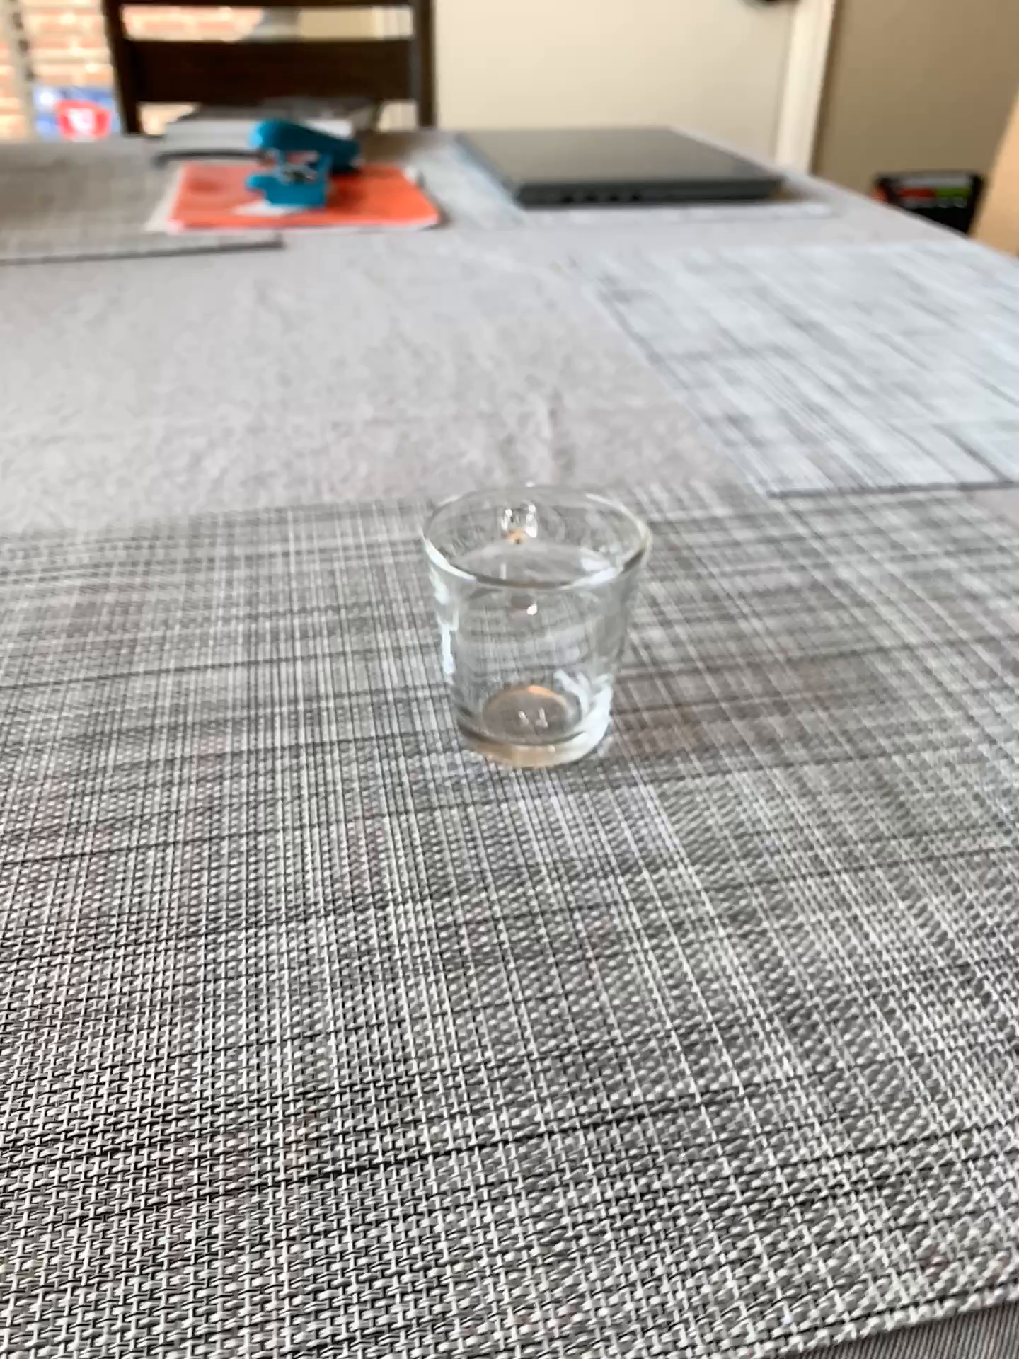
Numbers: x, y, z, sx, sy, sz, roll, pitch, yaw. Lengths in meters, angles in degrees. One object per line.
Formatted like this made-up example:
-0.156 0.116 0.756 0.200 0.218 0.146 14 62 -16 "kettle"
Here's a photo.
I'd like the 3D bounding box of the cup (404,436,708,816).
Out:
0.007 -0.018 0.282 0.058 0.060 0.083 -6 37 -9 "cup"
